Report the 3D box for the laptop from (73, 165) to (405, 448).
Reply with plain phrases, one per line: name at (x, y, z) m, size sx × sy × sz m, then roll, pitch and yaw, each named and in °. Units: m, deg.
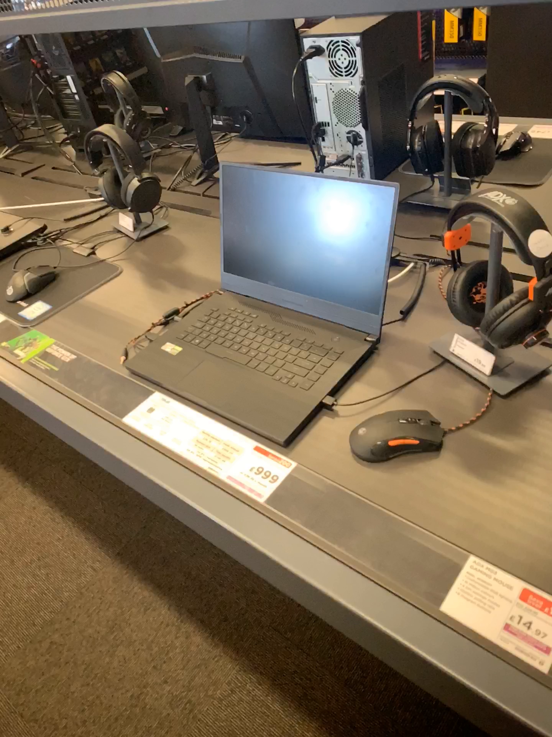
laptop at (-0.043, -0.124, 0.864) m, size 0.349 × 0.203 × 0.325 m, roll 22°, pitch 52°, yaw 34°
